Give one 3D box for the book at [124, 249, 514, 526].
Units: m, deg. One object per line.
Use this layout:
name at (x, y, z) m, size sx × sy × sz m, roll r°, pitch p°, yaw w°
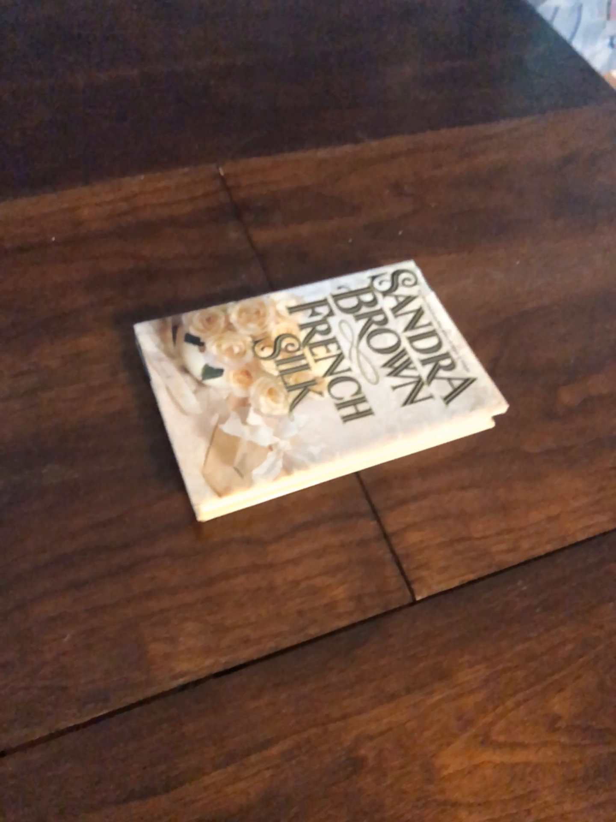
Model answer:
book at (0.005, -0.029, 0.509) m, size 0.240 × 0.033 × 0.161 m, roll -16°, pitch 60°, yaw -16°
